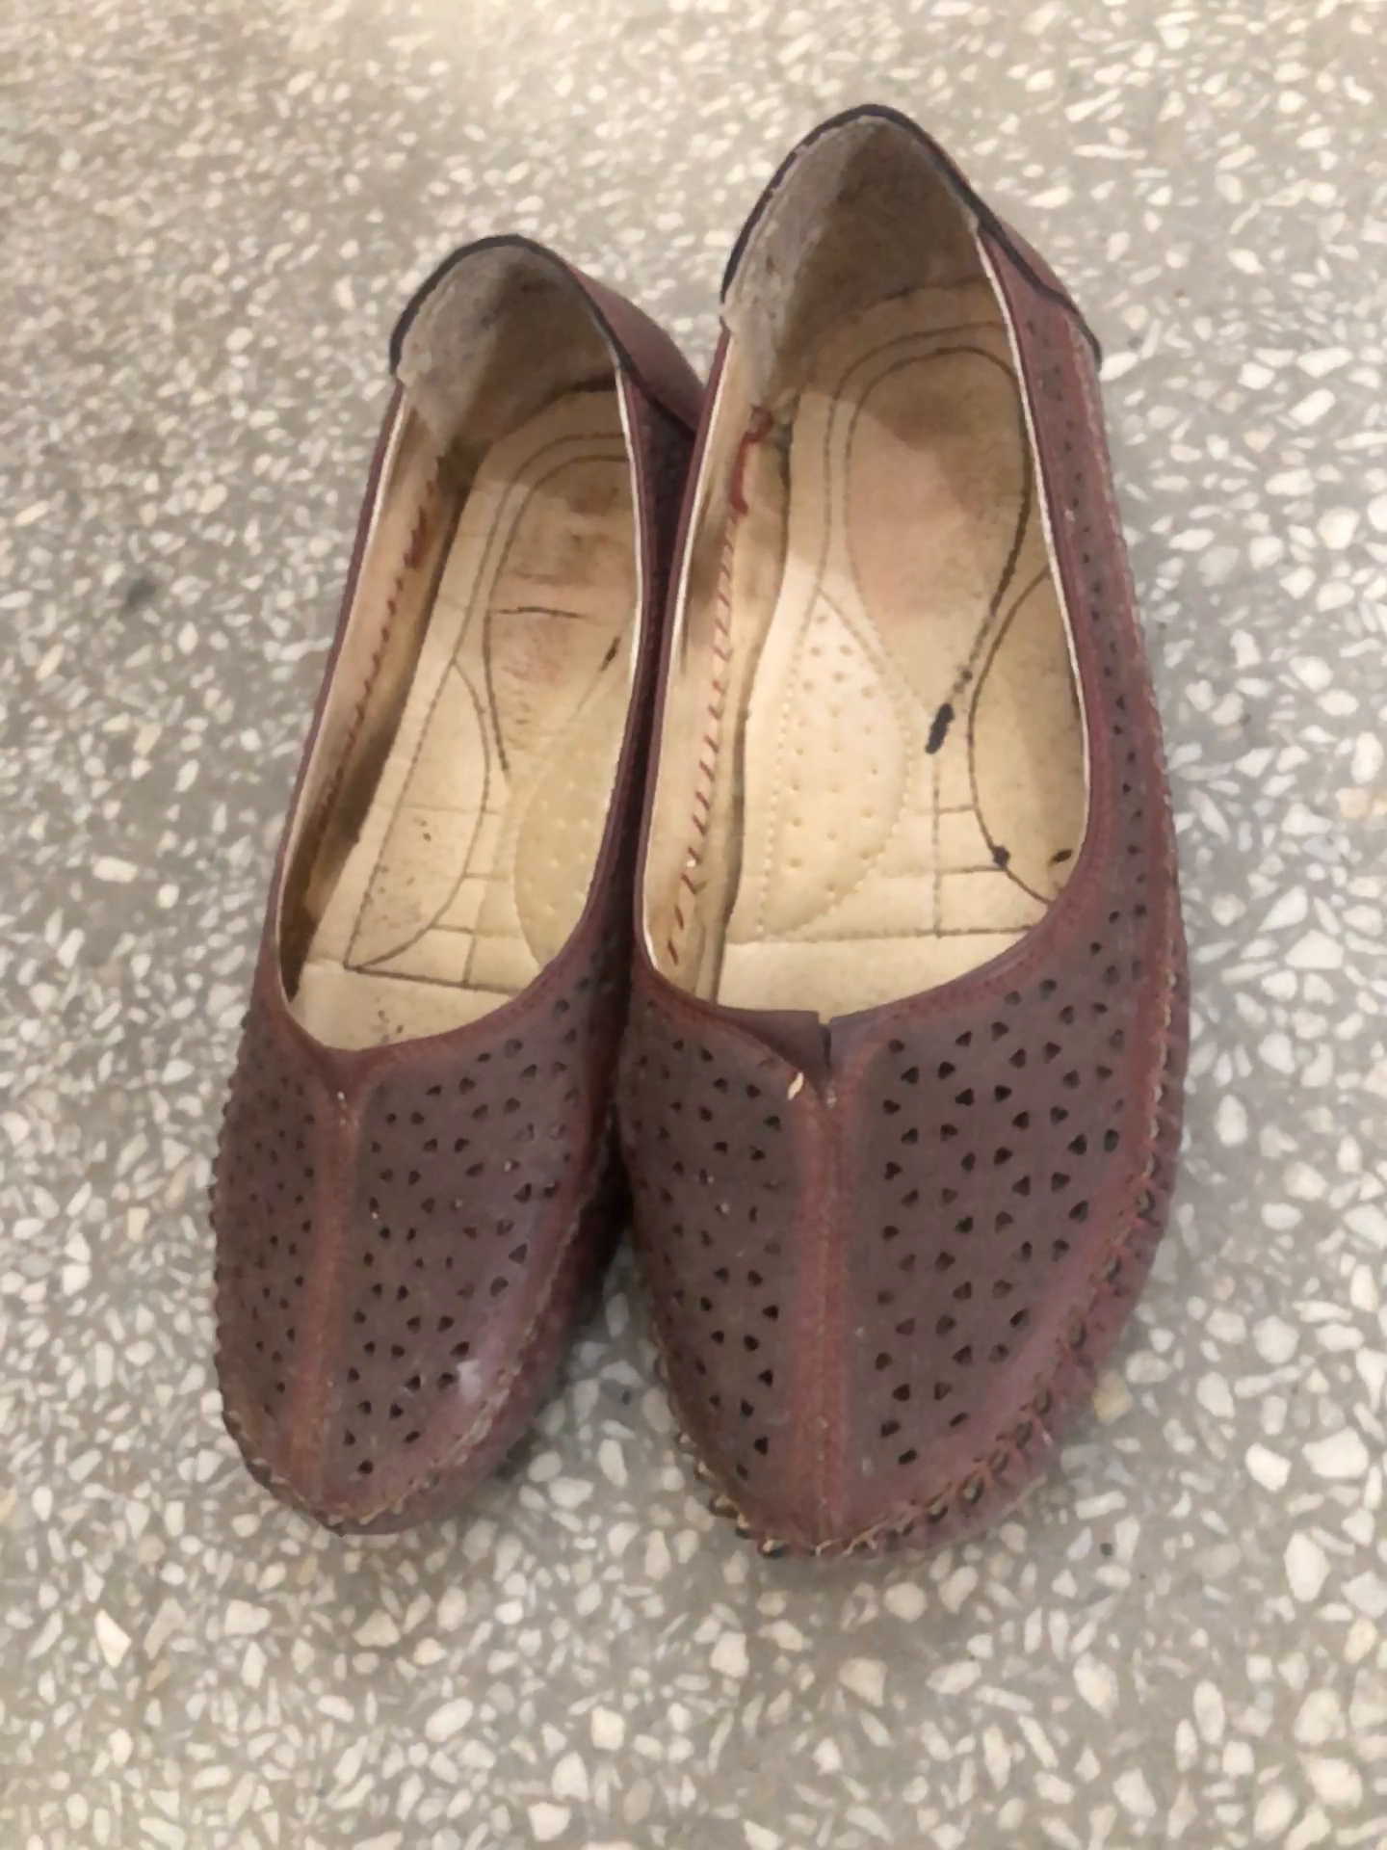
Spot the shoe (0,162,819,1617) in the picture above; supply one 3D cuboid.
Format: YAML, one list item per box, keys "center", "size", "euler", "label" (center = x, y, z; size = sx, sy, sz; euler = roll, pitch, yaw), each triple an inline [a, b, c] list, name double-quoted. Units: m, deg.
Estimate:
- center: [-0.048, -0.010, 0.290]
  size: [0.088, 0.080, 0.236]
  euler: [3, 72, 24]
  label: "shoe"

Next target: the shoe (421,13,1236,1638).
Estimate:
- center: [0.030, -0.016, 0.257]
  size: [0.095, 0.080, 0.231]
  euler: [-5, 69, 22]
  label: "shoe"
